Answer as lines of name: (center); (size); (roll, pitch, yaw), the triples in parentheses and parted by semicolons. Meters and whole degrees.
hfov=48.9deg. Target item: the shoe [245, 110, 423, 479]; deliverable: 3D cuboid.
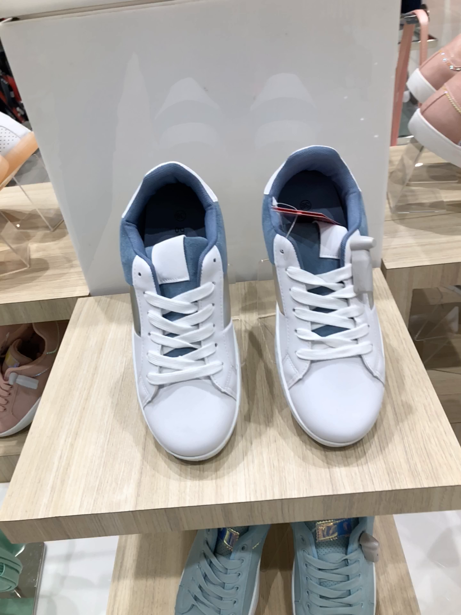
shoe: (0.076, -0.009, 0.424); (0.102, 0.263, 0.104); (-5, -5, 3)

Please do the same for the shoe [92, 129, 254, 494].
shoe: (-0.043, 0.003, 0.425); (0.092, 0.261, 0.104); (-7, -6, 0)
